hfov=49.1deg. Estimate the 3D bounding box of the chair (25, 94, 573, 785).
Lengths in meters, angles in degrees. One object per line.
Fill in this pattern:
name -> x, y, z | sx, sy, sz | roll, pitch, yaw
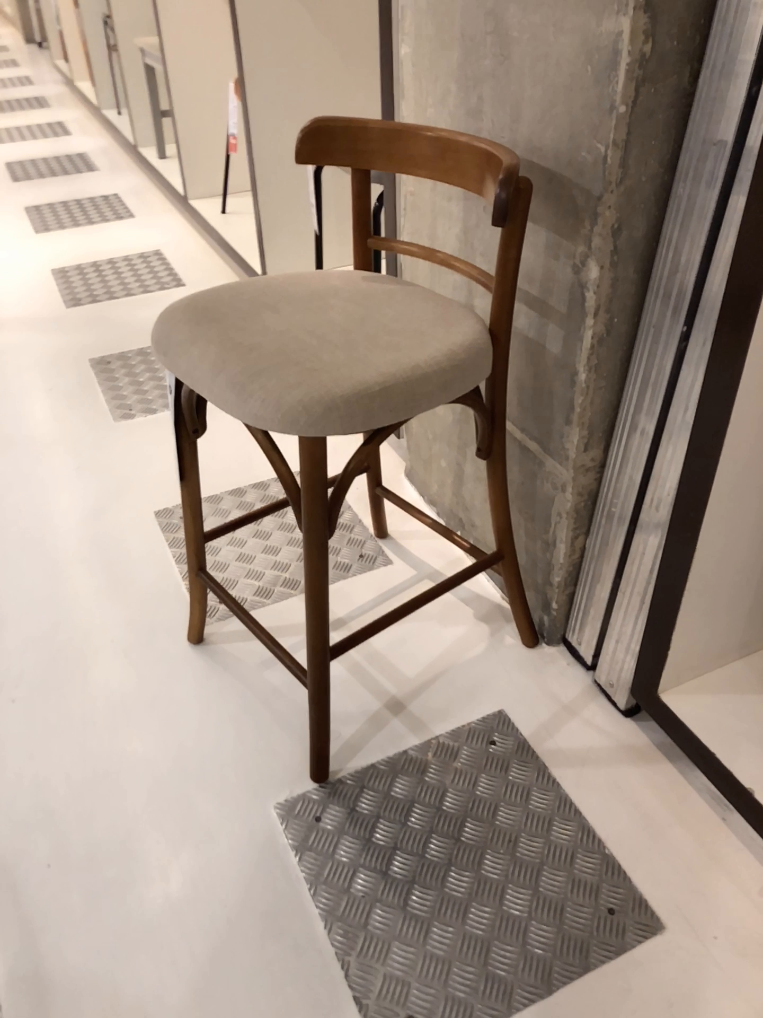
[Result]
chair -> -0.100, -0.120, 1.258 | 0.481, 0.793, 0.483 | -28, 44, -30
